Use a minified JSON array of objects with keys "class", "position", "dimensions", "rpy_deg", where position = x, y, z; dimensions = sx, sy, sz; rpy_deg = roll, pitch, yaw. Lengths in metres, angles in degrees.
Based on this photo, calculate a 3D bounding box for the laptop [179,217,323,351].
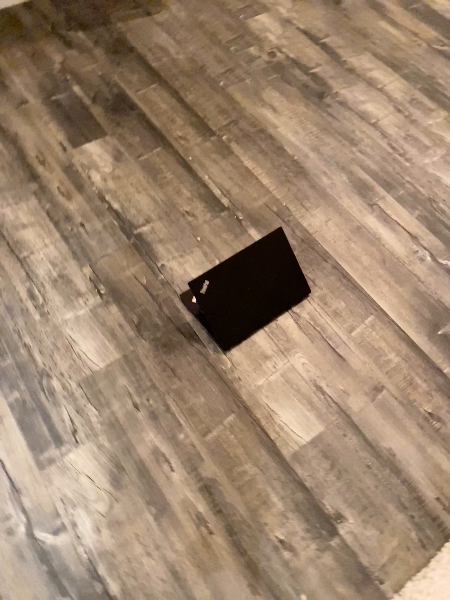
[{"class":"laptop","position":[0.068,-0.050,1.266],"dimensions":[0.315,0.124,0.219],"rpy_deg":[-32,67,-20]}]
